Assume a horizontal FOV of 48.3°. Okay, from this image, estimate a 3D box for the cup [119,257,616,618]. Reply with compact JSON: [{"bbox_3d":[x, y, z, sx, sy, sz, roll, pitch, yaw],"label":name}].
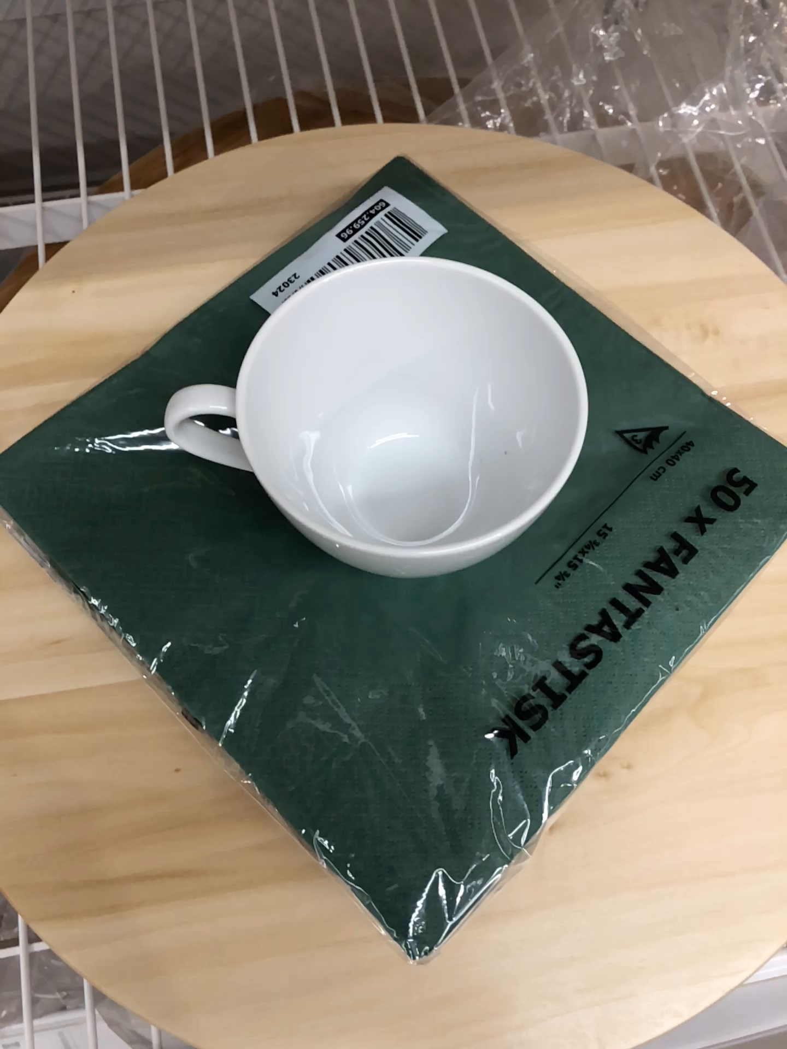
[{"bbox_3d":[-0.006,-0.024,0.252,0.120,0.050,0.090,0,68,-1],"label":"cup"}]
